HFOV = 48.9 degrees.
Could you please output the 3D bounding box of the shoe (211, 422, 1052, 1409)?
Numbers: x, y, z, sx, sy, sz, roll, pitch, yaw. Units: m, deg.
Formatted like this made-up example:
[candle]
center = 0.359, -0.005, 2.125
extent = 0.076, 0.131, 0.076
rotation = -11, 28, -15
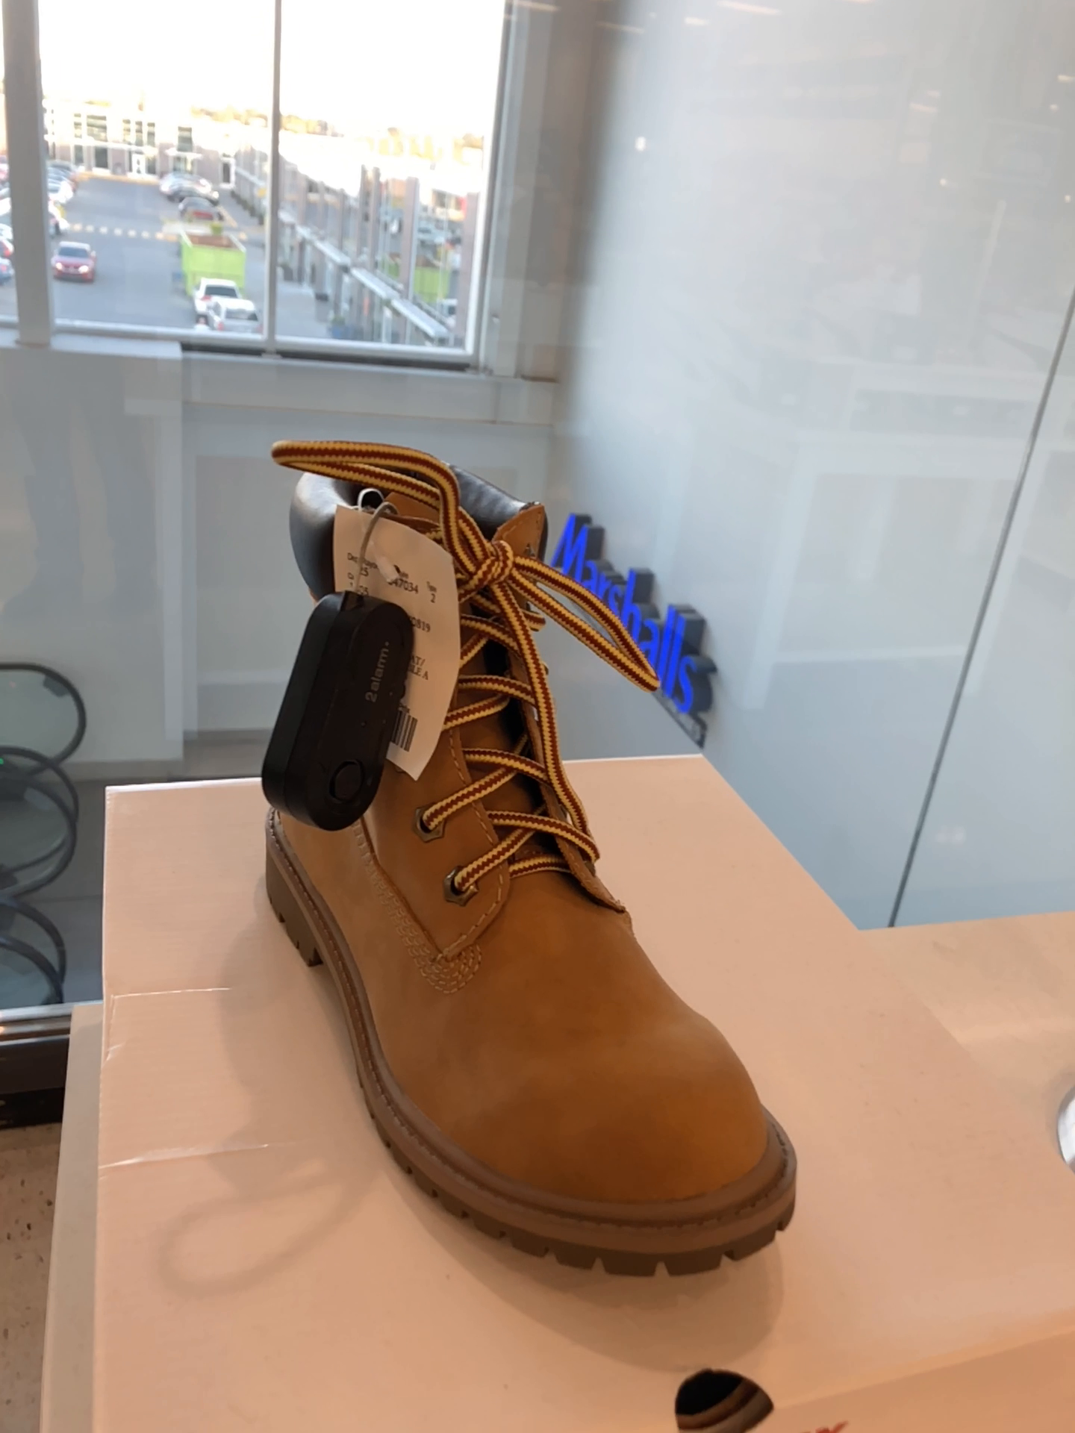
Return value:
[shoe]
center = -0.006, 0.025, 0.354
extent = 0.107, 0.169, 0.241
rotation = -8, 29, -31
